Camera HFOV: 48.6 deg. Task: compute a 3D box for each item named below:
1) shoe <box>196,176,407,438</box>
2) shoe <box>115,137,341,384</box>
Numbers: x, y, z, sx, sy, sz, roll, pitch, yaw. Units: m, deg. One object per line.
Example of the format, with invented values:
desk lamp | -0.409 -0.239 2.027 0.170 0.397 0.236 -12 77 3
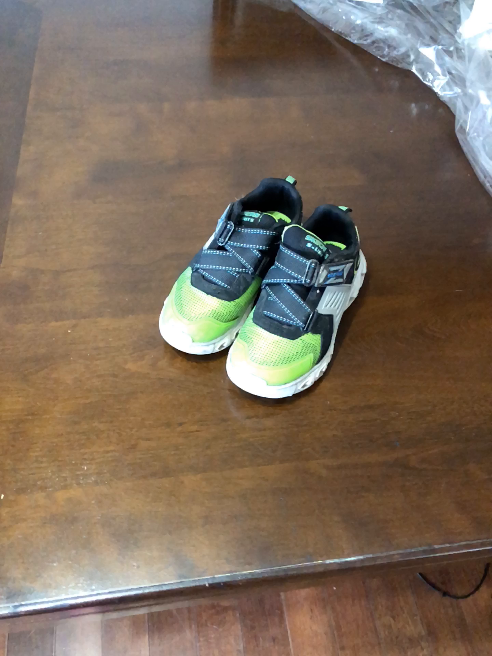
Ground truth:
shoe | 0.054 -0.026 0.508 0.100 0.100 0.210 26 58 15
shoe | -0.010 -0.071 0.526 0.100 0.100 0.210 29 58 17
